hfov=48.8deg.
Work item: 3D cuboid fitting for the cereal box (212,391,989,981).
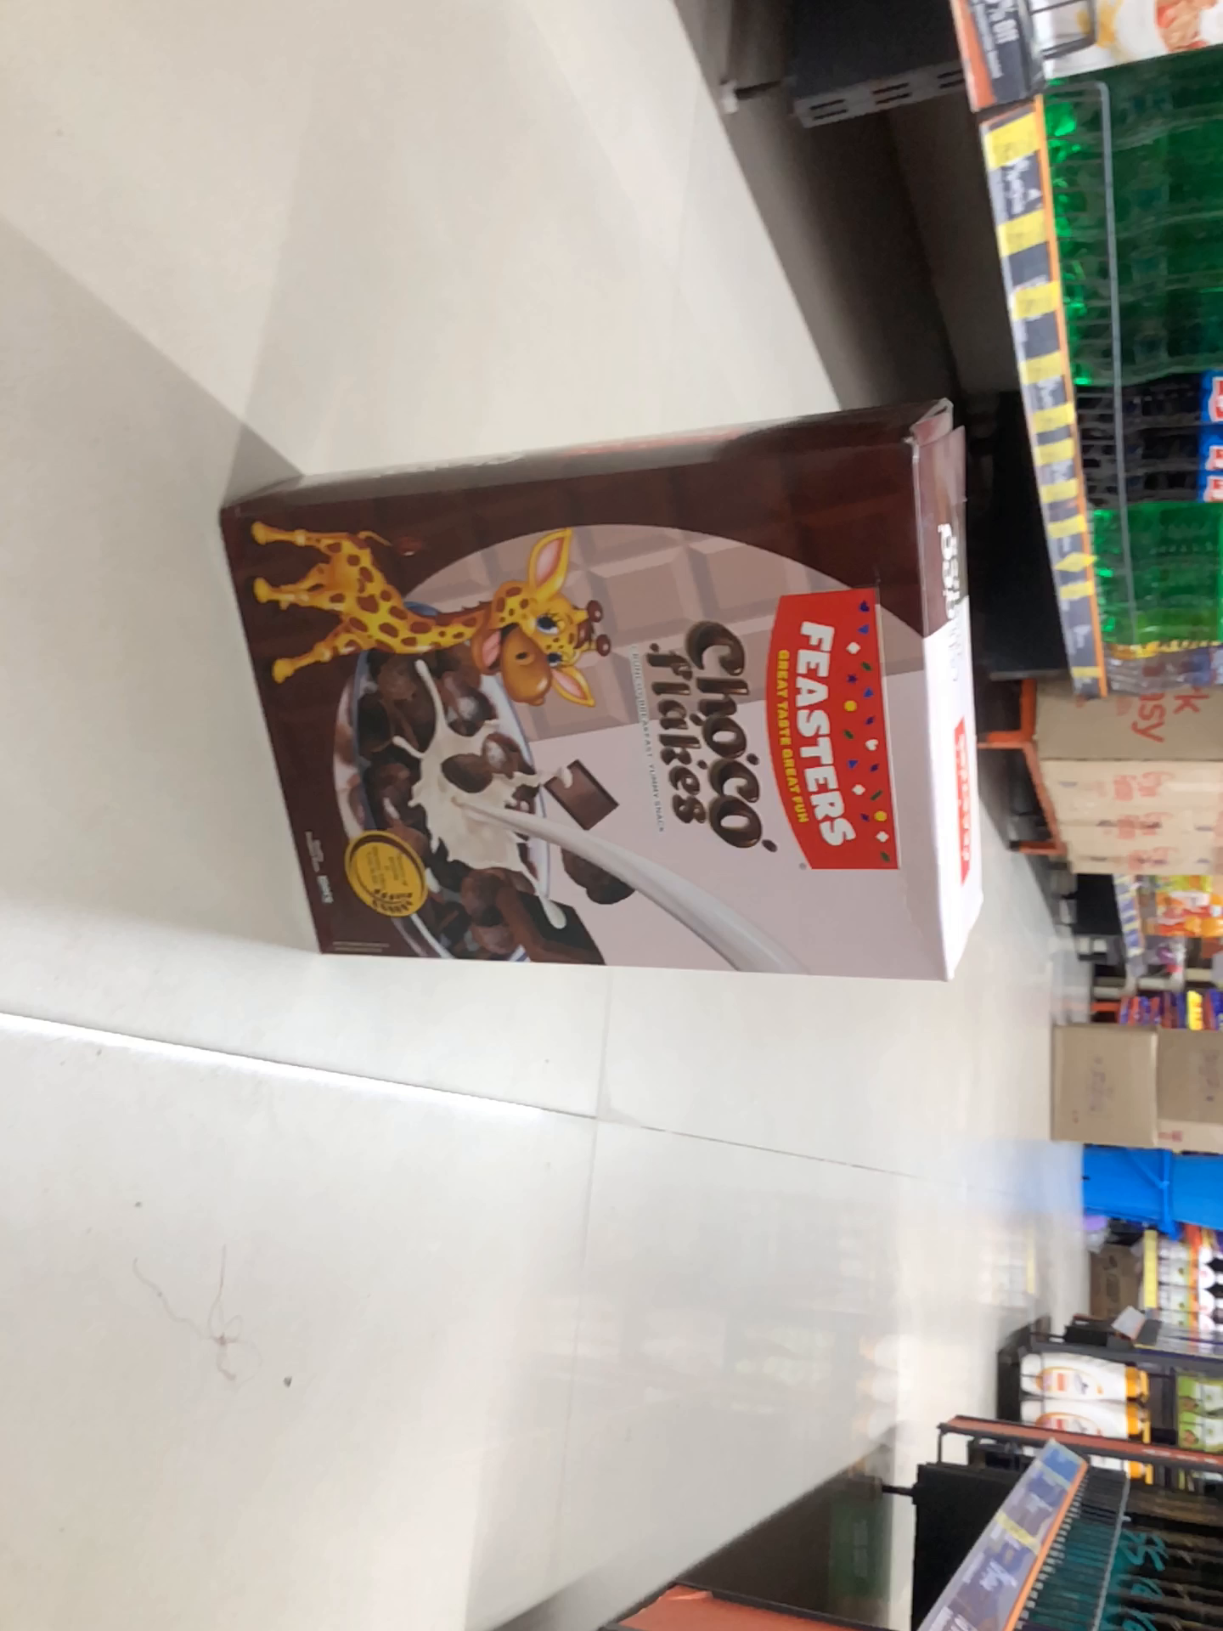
[{"bbox_3d":[-0.001,-0.041,0.504,0.060,0.258,0.190,-47,132,-60],"label":"cereal box"}]
